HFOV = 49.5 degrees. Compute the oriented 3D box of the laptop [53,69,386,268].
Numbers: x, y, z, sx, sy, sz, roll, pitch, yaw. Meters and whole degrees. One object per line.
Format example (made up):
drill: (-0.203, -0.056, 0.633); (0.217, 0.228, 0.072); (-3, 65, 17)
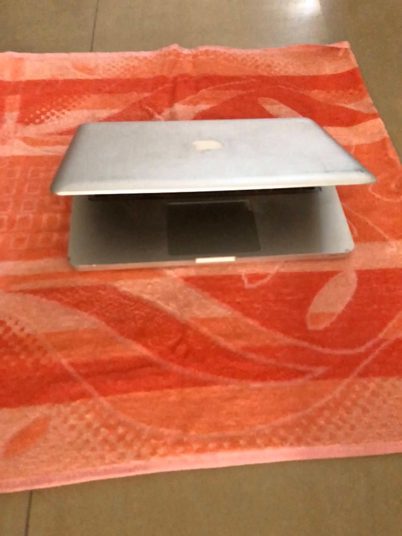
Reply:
laptop: (0.012, -0.124, 0.500); (0.310, 0.086, 0.224); (-3, 56, -6)
